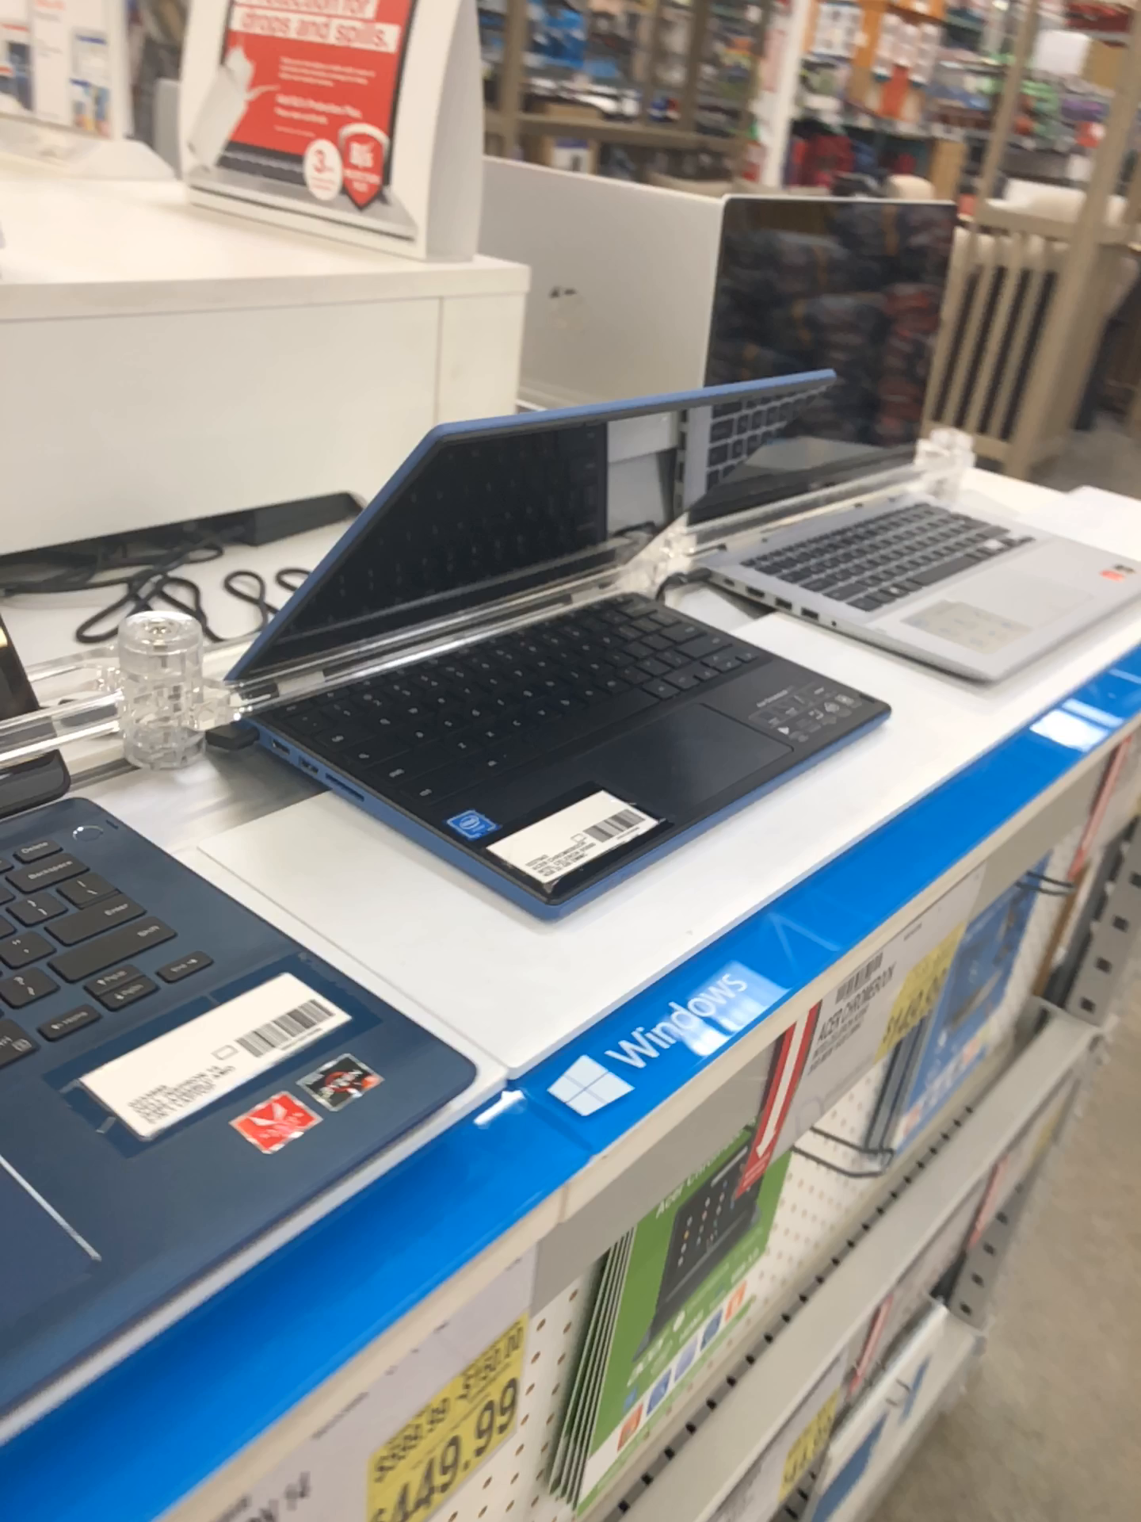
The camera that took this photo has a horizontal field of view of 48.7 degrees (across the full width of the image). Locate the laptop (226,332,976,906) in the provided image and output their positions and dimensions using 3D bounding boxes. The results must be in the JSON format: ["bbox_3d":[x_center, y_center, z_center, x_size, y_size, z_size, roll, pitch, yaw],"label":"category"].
[{"bbox_3d":[0.020,-0.094,0.601,0.195,0.159,0.294,27,33,31],"label":"laptop"}]

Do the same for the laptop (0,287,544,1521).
[{"bbox_3d":[-0.251,0.001,0.333,0.368,0.169,0.305,26,32,31],"label":"laptop"}]

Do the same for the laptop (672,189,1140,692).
[{"bbox_3d":[0.281,-0.253,0.884,0.256,0.218,0.342,29,36,31],"label":"laptop"}]
